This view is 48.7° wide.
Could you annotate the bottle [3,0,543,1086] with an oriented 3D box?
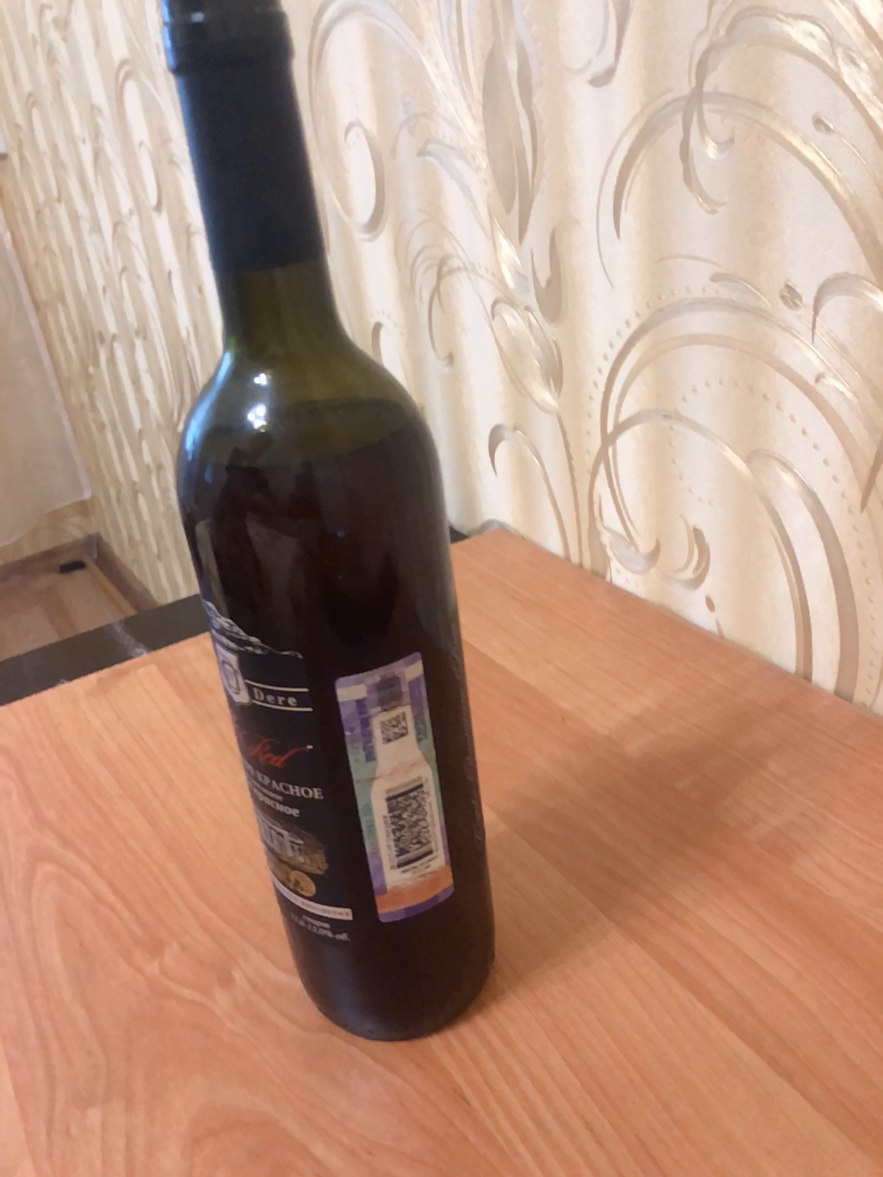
[{"bbox_3d":[-0.036,-0.010,0.289,0.073,0.322,0.084,-19,28,-22],"label":"bottle"}]
